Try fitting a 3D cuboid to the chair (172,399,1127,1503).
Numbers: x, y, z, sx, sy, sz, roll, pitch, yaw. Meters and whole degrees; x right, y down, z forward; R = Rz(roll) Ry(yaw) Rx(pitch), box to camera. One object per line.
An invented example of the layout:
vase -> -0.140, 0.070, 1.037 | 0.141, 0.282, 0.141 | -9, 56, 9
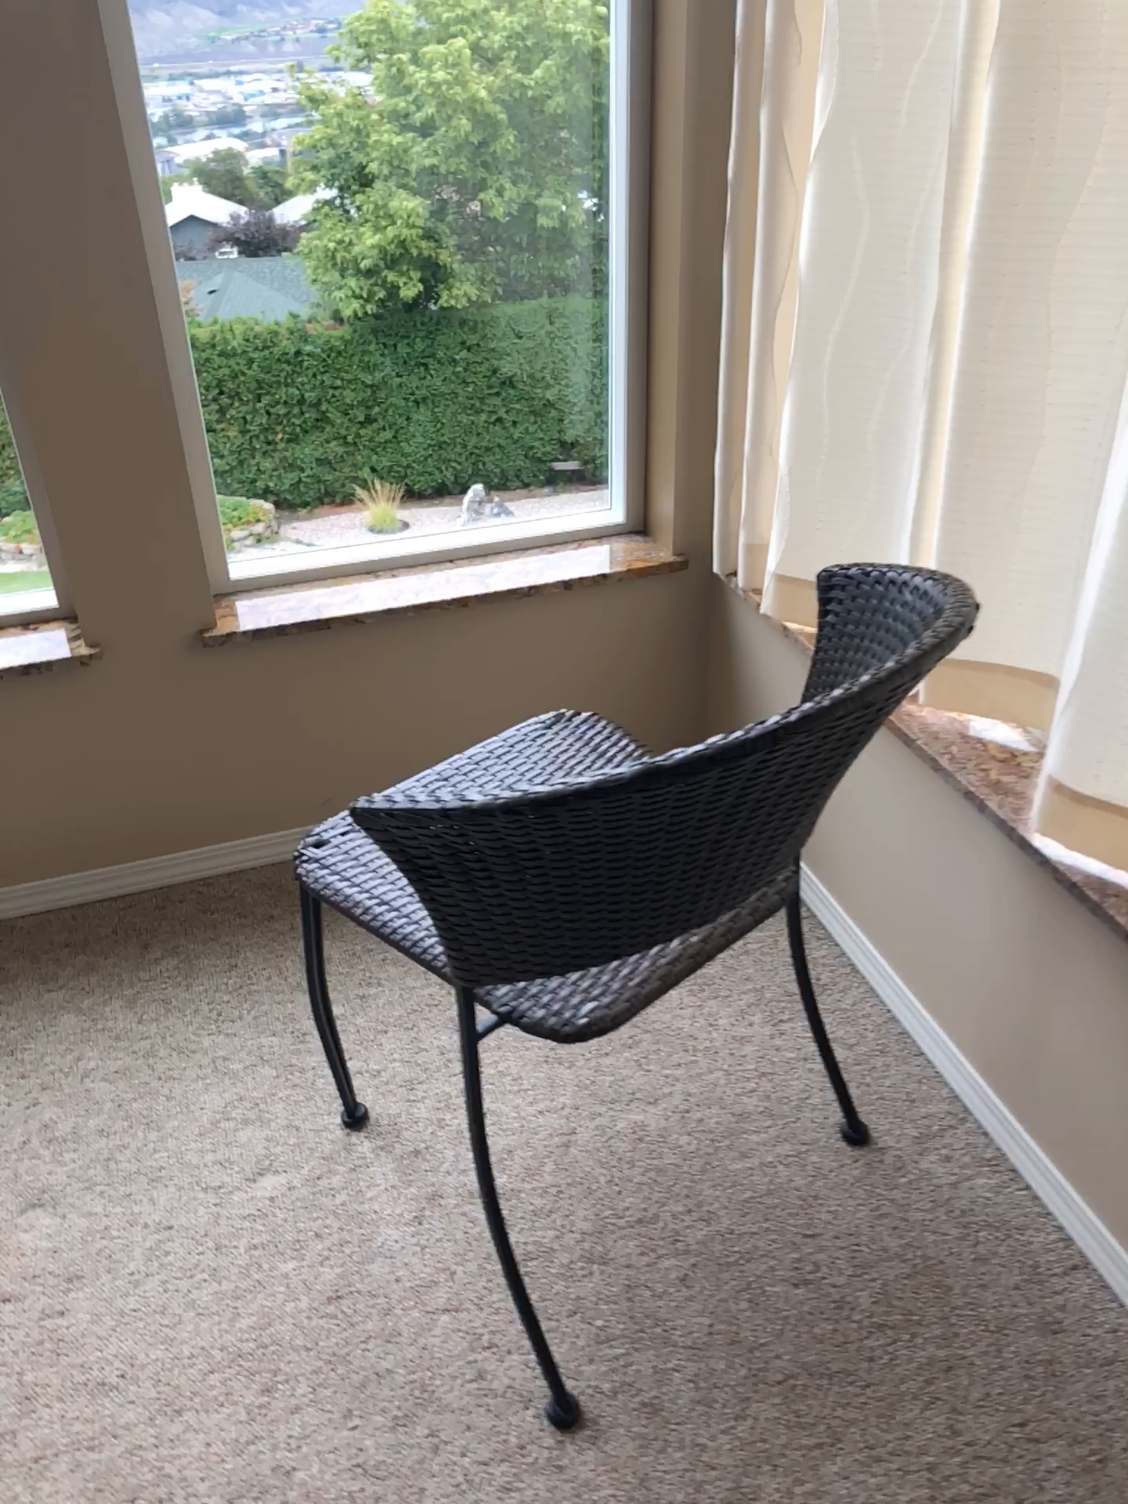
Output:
chair -> 0.070, 0.155, 1.263 | 0.560, 0.787, 0.612 | -26, 40, -33
